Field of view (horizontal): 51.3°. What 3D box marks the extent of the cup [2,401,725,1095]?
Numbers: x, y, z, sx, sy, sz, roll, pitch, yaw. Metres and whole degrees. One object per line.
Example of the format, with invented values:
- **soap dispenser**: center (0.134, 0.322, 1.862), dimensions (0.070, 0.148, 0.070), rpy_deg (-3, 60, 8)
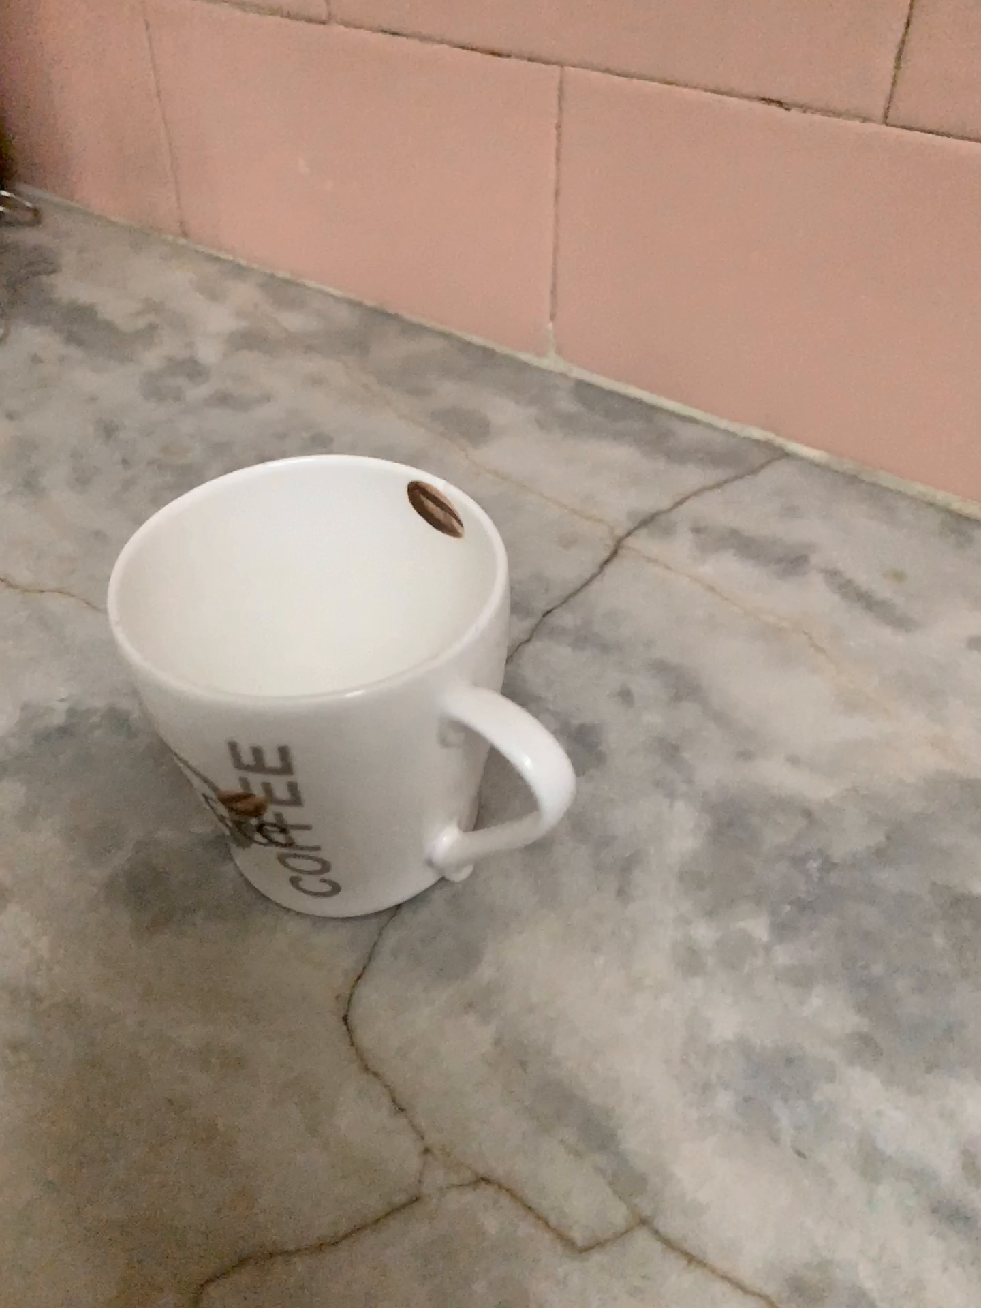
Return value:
- **cup**: center (-0.022, 0.012, 0.196), dimensions (0.100, 0.070, 0.070), rpy_deg (26, 49, 26)
